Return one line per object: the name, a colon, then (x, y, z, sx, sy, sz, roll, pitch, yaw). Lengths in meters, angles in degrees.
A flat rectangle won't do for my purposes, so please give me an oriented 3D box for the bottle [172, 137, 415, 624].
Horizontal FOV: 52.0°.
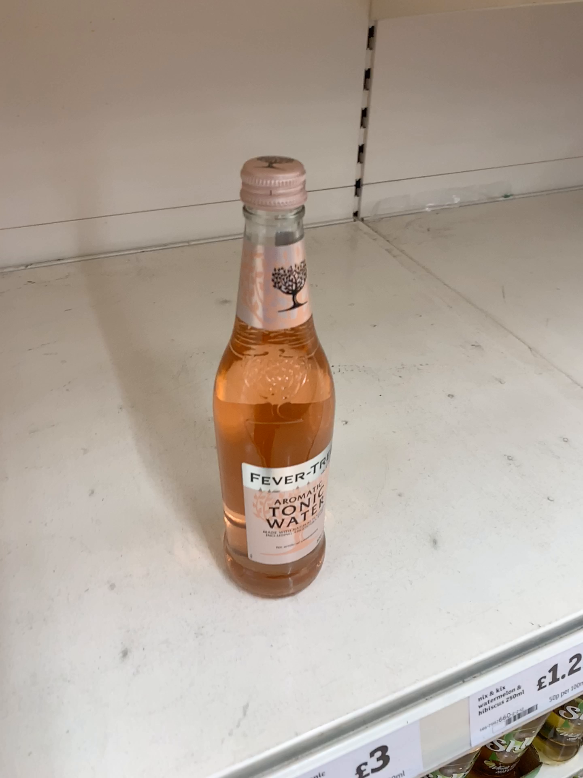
bottle: (-0.003, 0.010, 0.322, 0.078, 0.254, 0.068, -17, 40, -23)
